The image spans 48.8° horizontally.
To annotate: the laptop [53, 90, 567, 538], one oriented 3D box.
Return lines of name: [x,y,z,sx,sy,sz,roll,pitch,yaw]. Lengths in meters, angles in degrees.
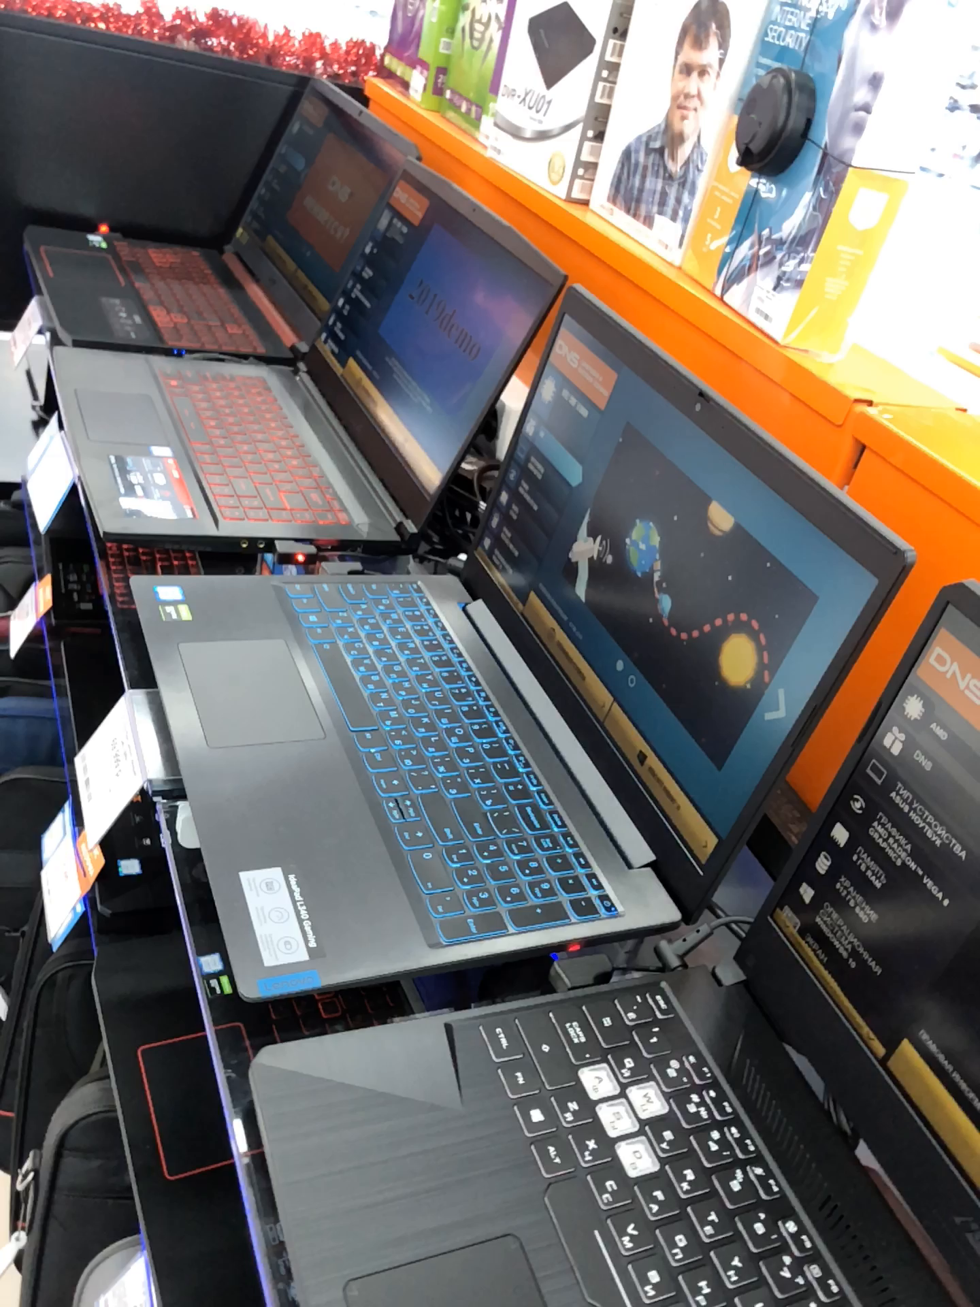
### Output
laptop: [-0.181,-0.289,0.925,0.319,0.224,0.357,-2,37,-28]

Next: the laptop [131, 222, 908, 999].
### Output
laptop: [-0.029,-0.050,0.614,0.278,0.235,0.358,-1,36,-26]

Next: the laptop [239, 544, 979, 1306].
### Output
laptop: [0.112,0.172,0.324,0.273,0.244,0.369,-1,35,-25]
